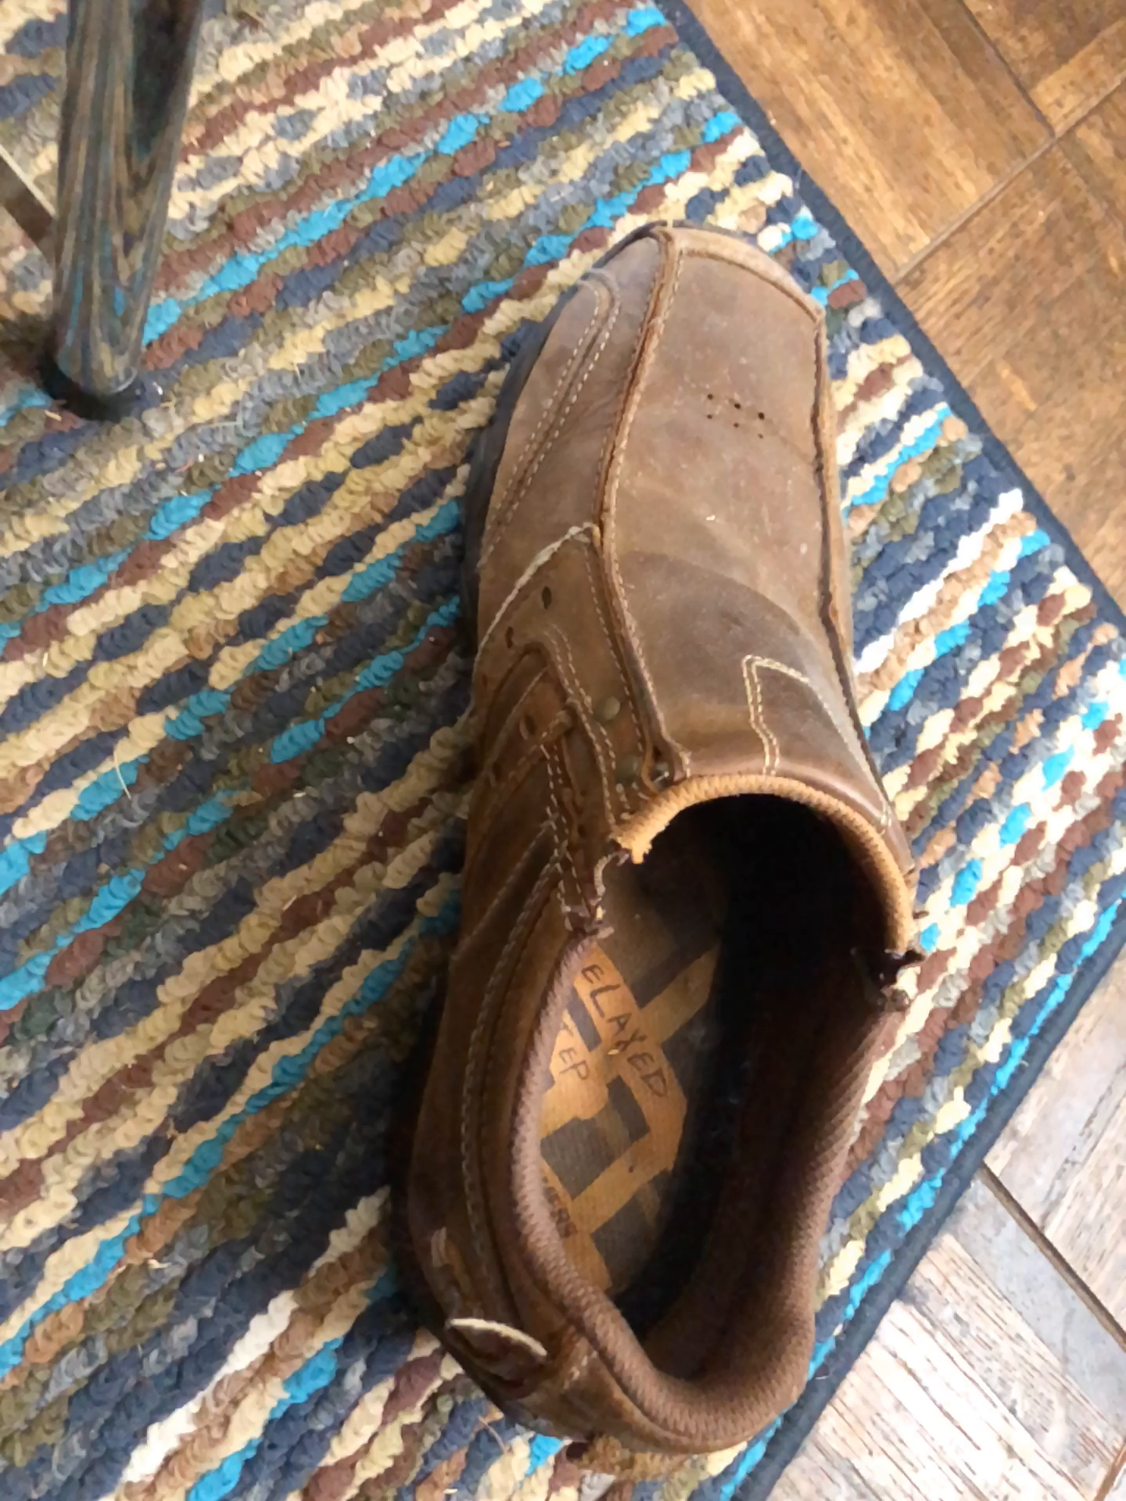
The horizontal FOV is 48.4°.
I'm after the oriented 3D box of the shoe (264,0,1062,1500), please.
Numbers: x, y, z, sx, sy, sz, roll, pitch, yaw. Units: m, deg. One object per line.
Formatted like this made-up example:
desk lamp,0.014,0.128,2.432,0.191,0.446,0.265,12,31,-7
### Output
shoe,0.027,0.002,0.276,0.100,0.100,0.280,17,72,-22
